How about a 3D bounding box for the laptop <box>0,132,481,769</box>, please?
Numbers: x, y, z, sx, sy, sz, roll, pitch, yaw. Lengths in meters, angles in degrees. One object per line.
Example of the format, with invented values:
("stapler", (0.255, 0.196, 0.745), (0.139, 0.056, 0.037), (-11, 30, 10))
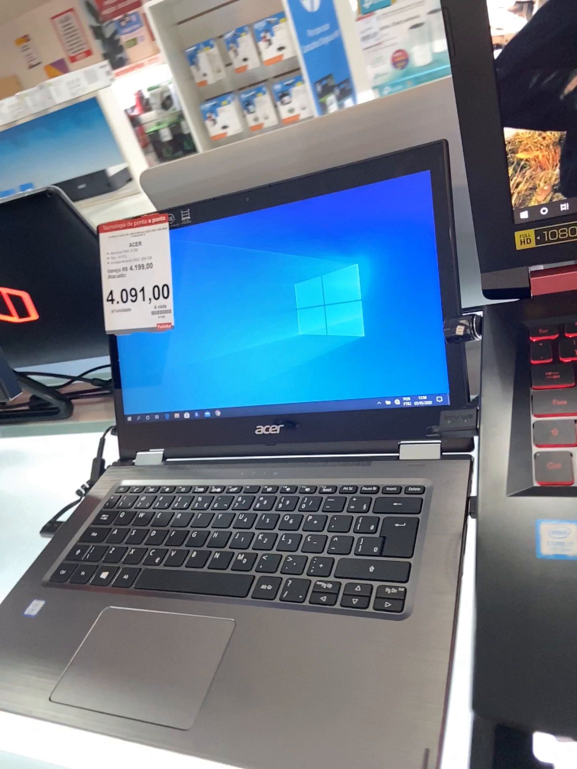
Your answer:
("laptop", (-0.062, 0.011, 0.410), (0.328, 0.187, 0.357), (-6, 33, 25))
